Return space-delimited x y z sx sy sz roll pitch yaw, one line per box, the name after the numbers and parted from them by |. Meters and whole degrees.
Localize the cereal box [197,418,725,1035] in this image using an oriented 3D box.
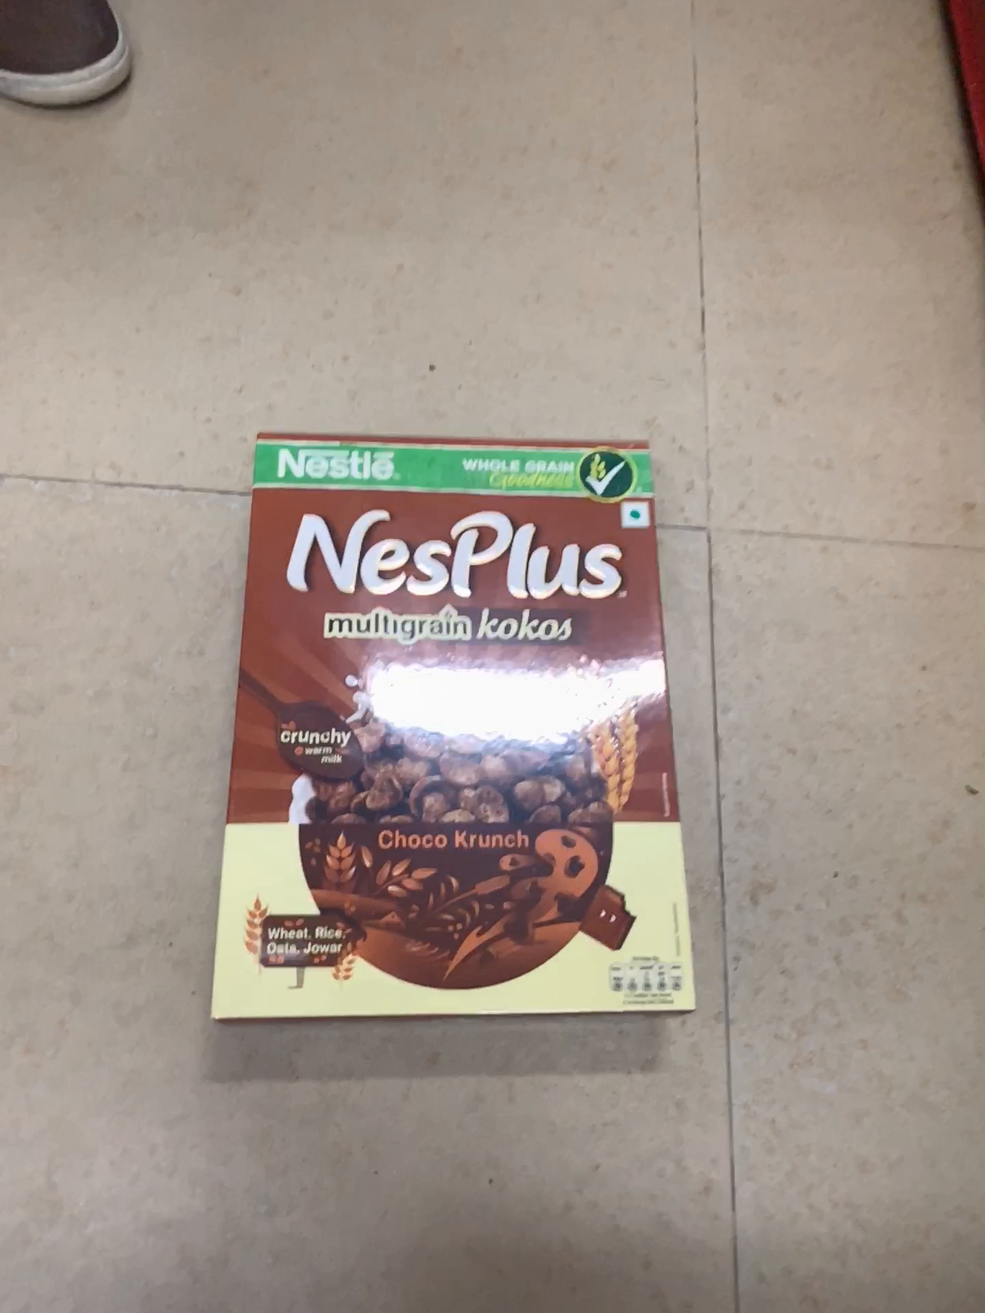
-0.014 0.034 0.487 0.210 0.090 0.280 1 70 -4 | cereal box
